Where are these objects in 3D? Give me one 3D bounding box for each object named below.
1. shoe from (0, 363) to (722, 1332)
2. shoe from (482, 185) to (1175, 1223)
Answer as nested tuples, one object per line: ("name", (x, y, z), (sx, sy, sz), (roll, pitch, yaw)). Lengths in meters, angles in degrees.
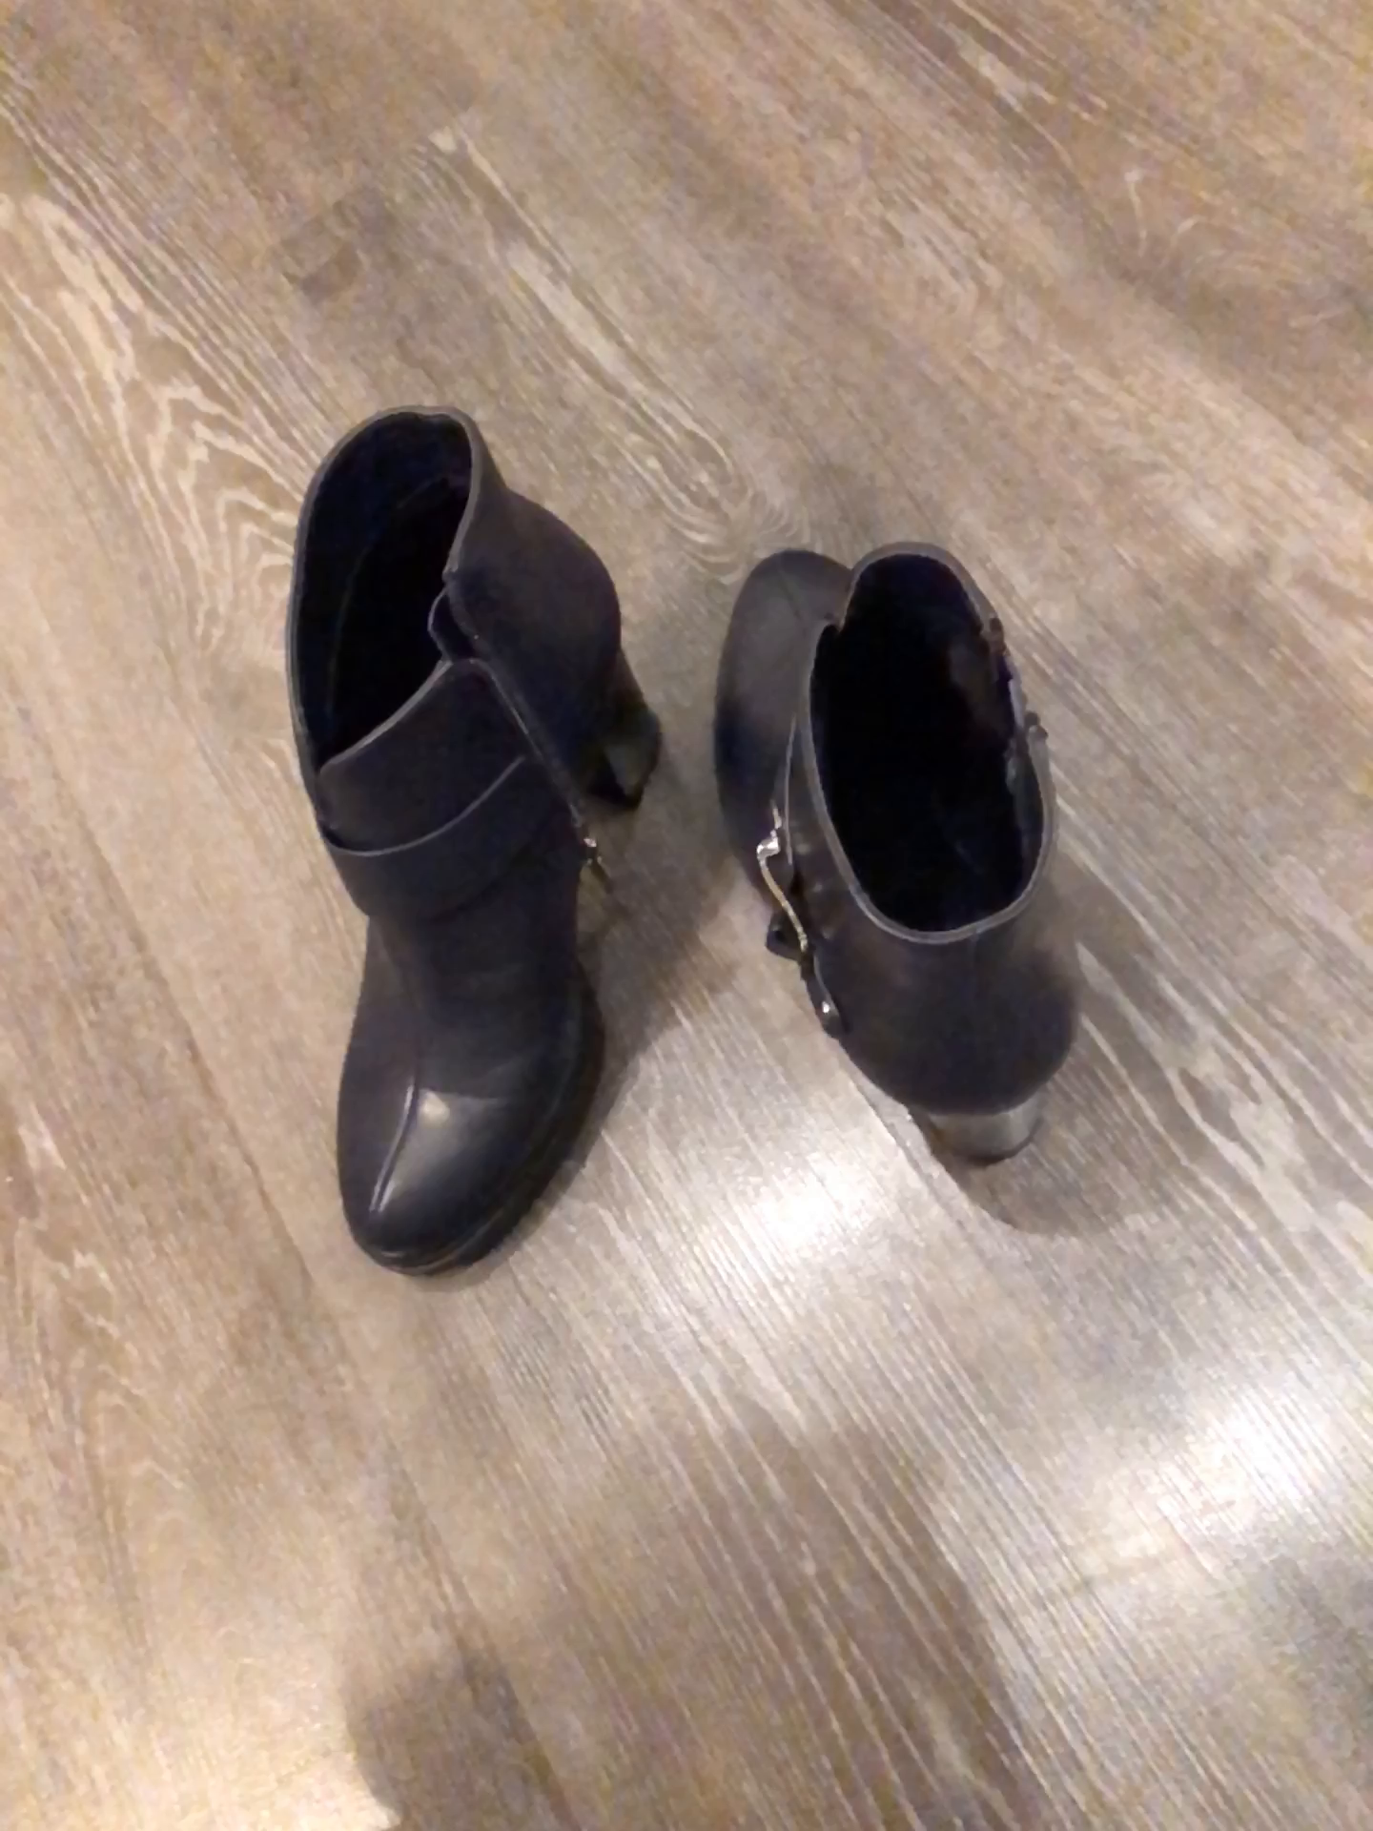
("shoe", (-0.083, -0.006, 0.438), (0.090, 0.189, 0.210), (12, 73, 19))
("shoe", (0.044, -0.043, 0.428), (0.090, 0.189, 0.211), (-22, 66, 6))
